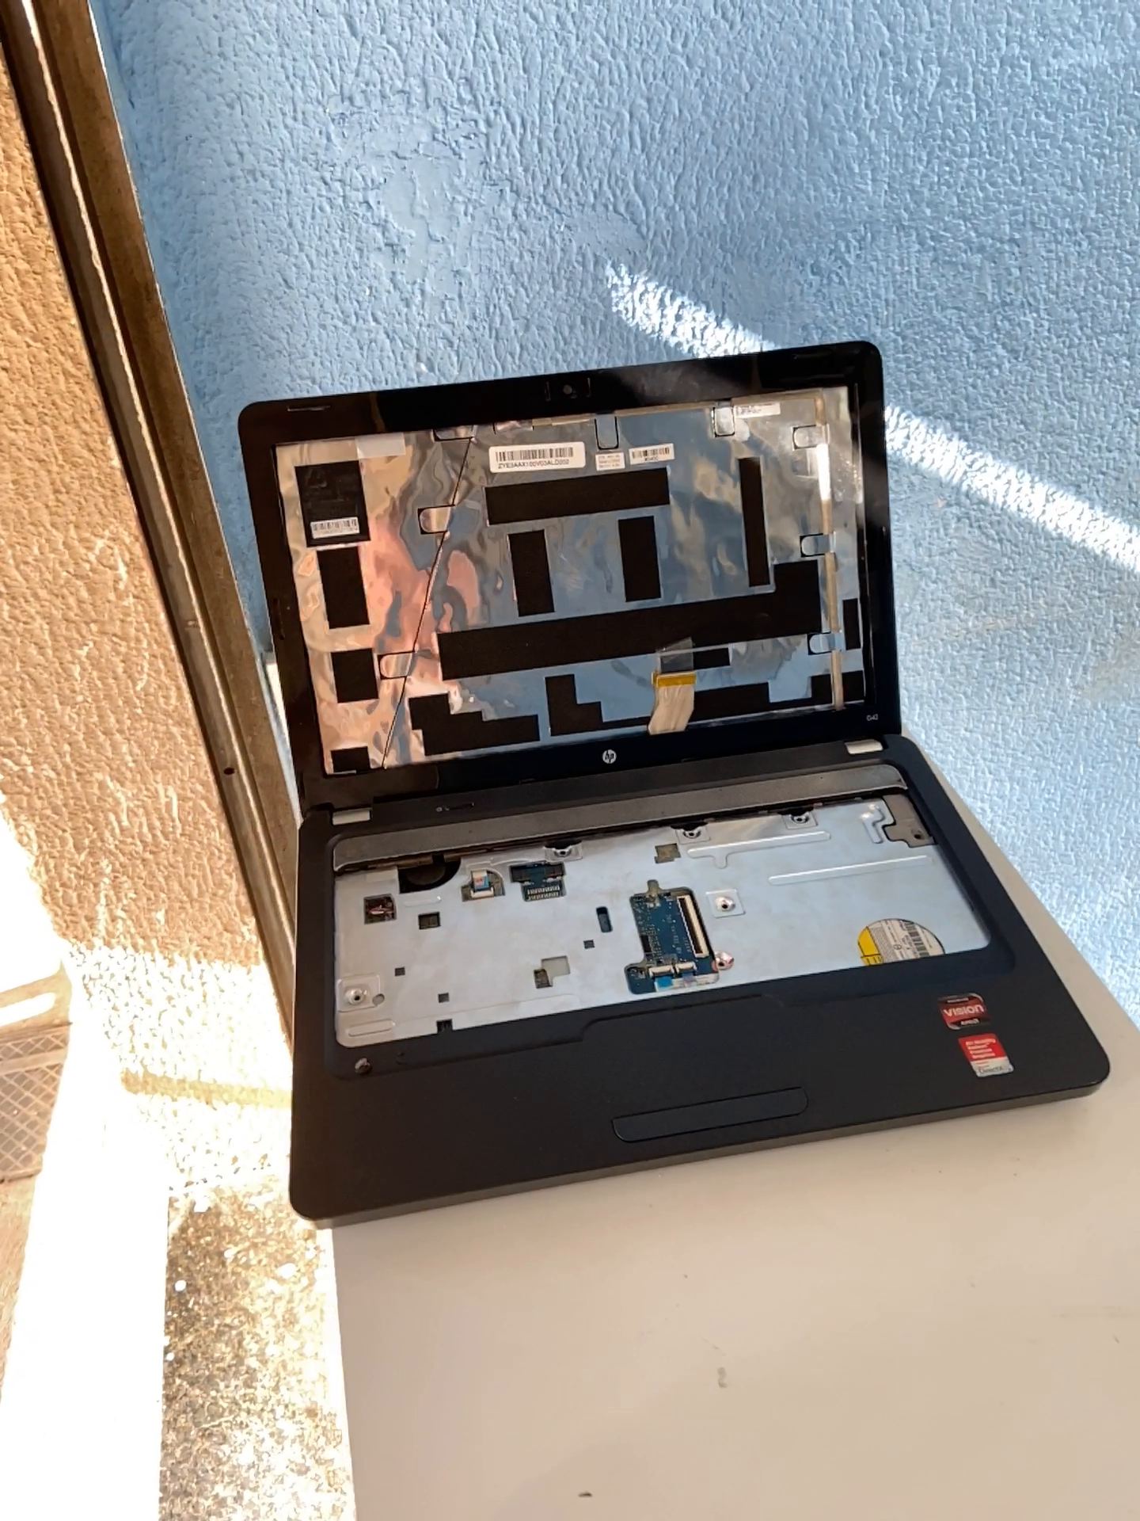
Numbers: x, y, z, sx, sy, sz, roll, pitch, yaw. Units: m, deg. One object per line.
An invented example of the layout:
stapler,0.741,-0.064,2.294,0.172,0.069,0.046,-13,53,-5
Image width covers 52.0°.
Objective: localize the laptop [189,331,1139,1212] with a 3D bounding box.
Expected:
laptop,0.027,-0.029,0.546,0.338,0.179,0.351,-7,42,-6
